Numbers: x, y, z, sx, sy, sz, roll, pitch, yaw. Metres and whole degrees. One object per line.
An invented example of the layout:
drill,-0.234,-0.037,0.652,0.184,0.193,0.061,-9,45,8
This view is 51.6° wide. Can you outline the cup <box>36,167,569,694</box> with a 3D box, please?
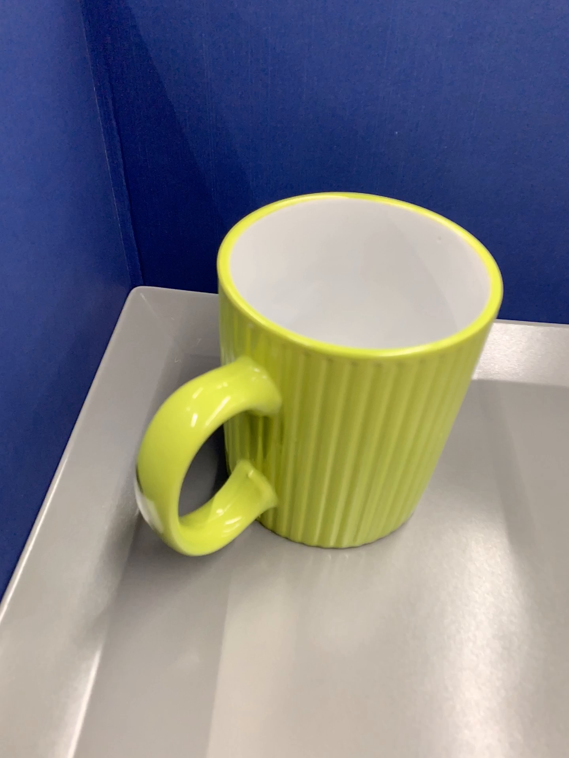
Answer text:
cup,0.009,0.007,0.204,0.091,0.098,0.129,35,52,30
